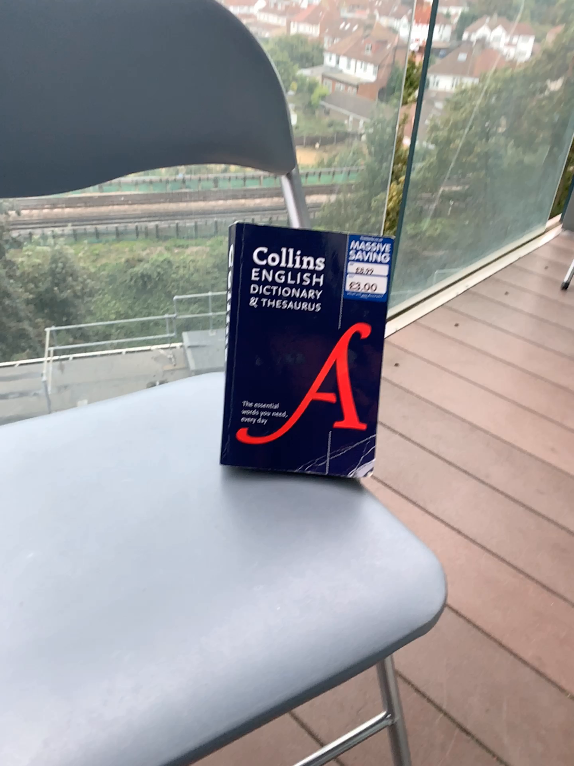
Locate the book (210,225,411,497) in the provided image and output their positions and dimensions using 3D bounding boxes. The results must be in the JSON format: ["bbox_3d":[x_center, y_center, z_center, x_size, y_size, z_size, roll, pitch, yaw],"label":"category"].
[{"bbox_3d":[0.017,-0.019,0.480,0.140,0.200,0.060,4,7,2],"label":"book"}]
